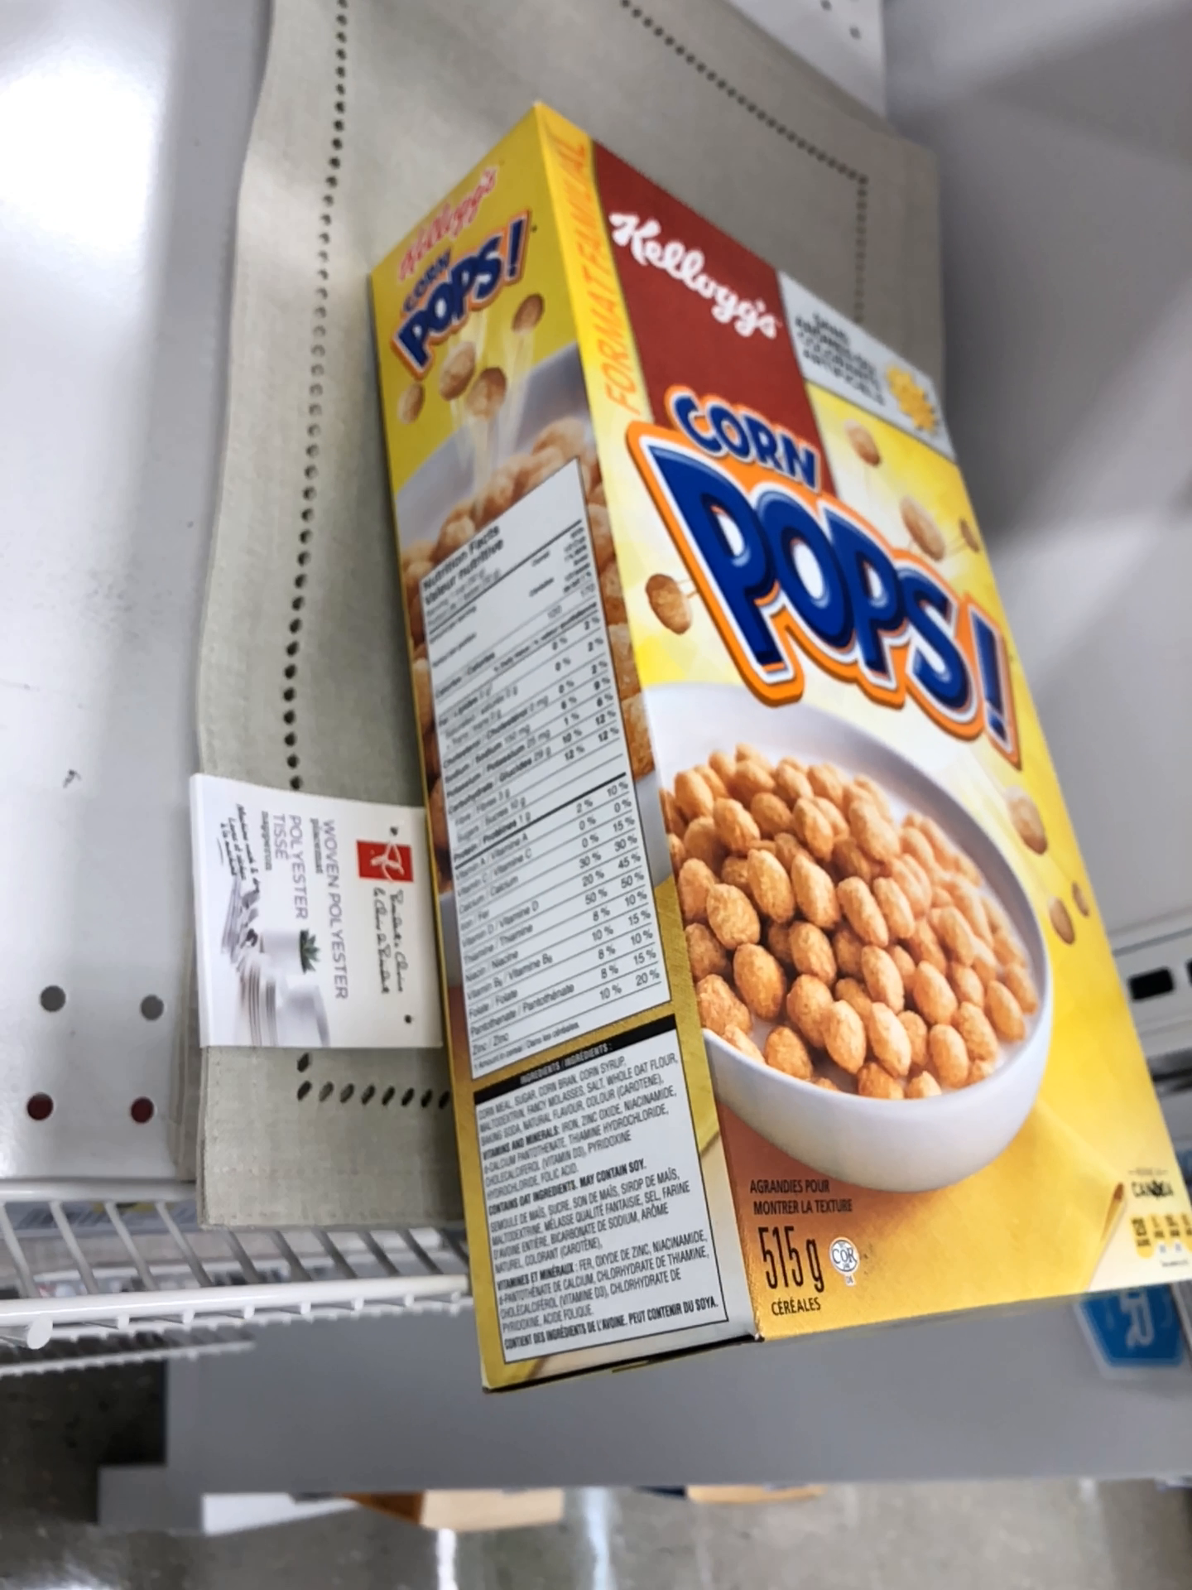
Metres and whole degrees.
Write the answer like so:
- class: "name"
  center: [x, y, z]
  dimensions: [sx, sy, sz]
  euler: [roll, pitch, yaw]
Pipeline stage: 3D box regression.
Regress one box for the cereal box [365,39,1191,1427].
- class: "cereal box"
  center: [0.055, -0.015, 0.401]
  dimensions: [0.221, 0.080, 0.340]
  euler: [17, 56, -46]
